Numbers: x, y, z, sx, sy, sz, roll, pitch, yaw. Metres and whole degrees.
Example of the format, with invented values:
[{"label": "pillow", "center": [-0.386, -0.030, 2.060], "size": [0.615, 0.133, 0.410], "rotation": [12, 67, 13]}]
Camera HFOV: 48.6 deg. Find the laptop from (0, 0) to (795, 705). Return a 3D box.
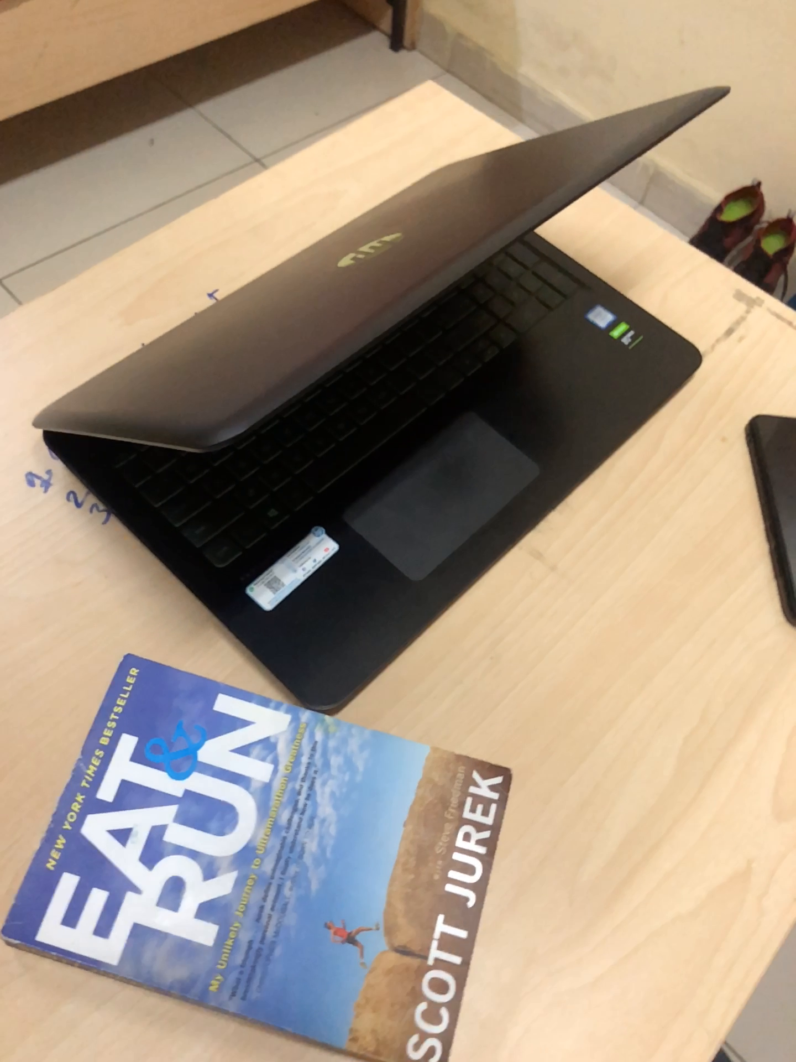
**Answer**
[{"label": "laptop", "center": [0.011, -0.130, 0.506], "size": [0.231, 0.167, 0.360], "rotation": [40, 63, 17]}]
